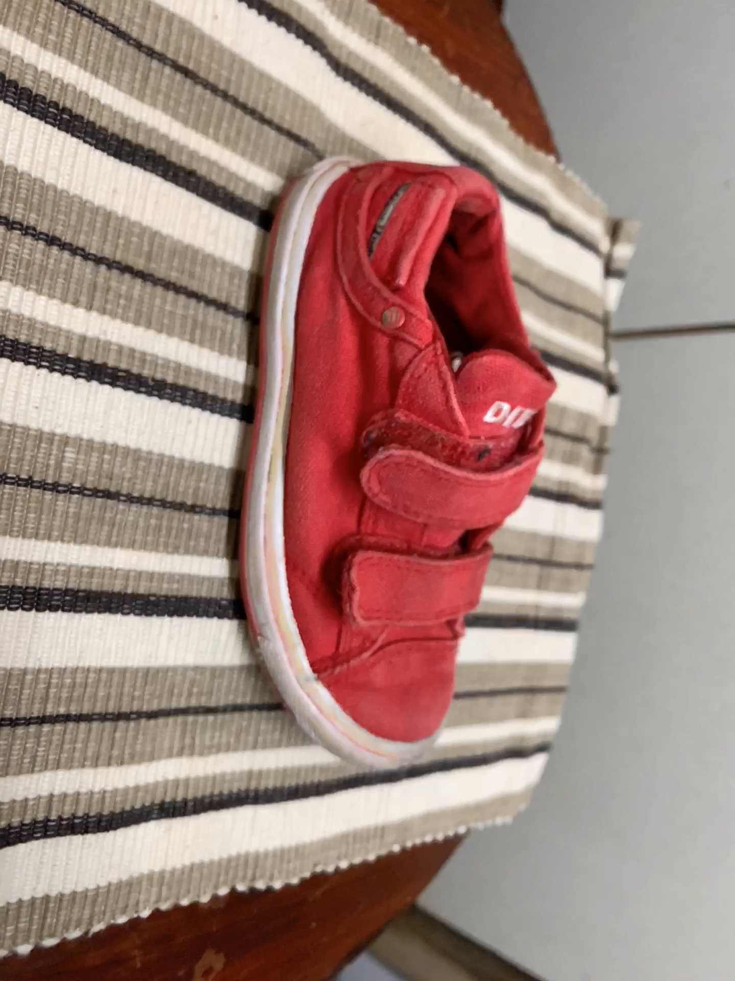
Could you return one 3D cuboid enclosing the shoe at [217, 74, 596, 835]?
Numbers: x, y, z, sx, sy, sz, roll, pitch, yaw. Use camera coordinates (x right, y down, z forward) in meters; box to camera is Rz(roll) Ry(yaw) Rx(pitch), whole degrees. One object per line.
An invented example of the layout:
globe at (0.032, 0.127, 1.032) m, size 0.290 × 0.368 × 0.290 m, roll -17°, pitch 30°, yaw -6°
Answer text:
shoe at (0.011, -0.009, 0.226) m, size 0.081 × 0.070 × 0.170 m, roll -3°, pitch 96°, yaw -44°
